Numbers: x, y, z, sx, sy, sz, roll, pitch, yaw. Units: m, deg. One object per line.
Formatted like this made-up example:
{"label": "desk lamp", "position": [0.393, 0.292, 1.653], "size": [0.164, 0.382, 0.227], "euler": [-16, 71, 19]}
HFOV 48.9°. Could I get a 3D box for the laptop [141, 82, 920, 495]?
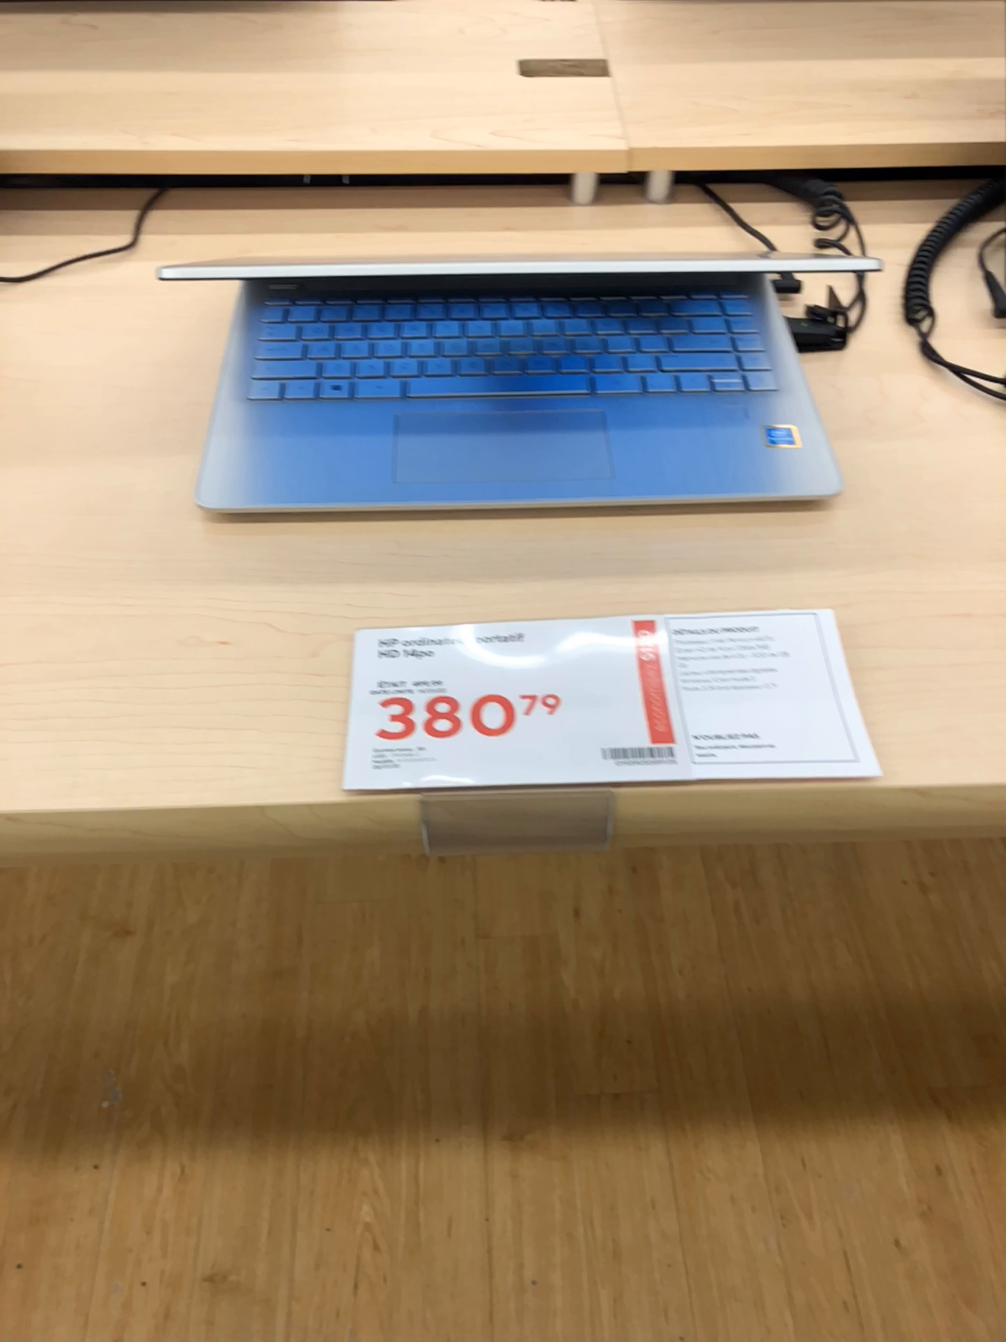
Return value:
{"label": "laptop", "position": [-0.003, -0.198, 0.564], "size": [0.318, 0.104, 0.217], "euler": [-1, 48, 4]}
